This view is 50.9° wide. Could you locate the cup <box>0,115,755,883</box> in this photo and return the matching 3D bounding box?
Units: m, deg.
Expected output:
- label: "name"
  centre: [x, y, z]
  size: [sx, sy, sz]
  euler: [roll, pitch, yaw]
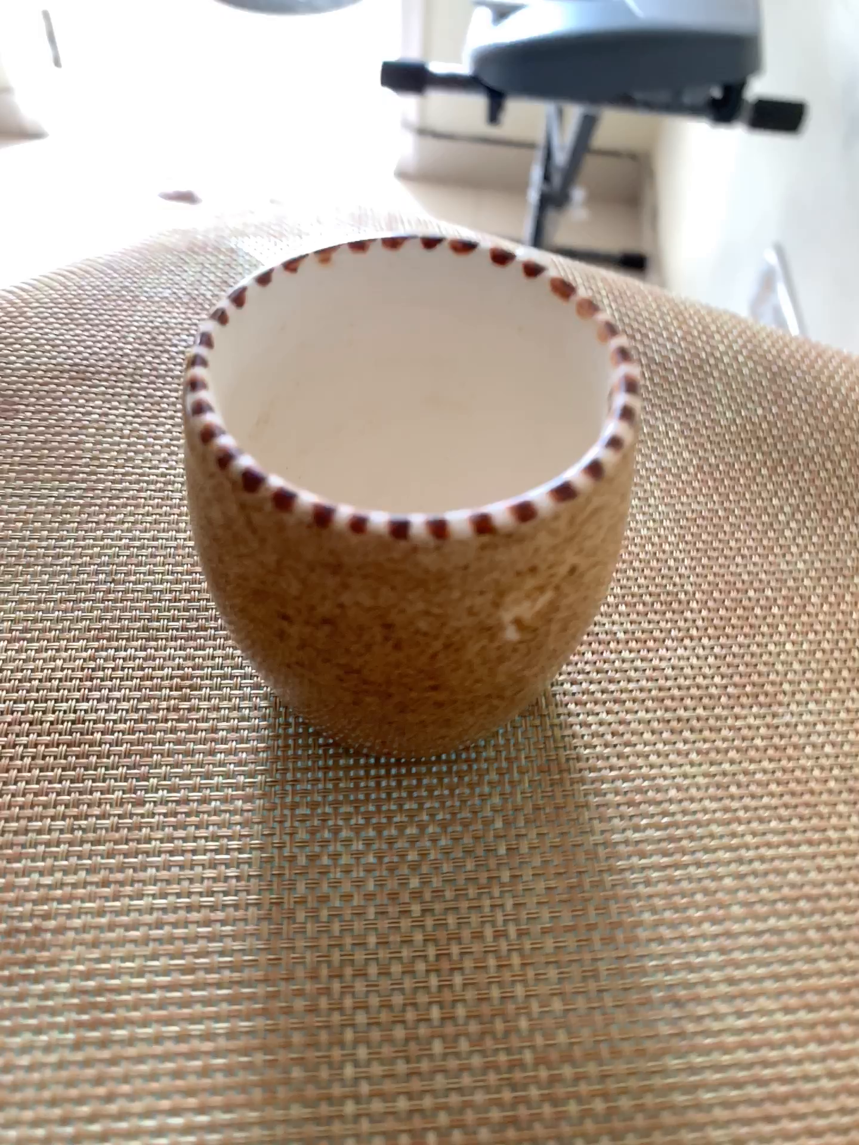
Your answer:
- label: "cup"
  centre: [-0.003, -0.016, 0.154]
  size: [0.070, 0.070, 0.090]
  euler: [26, 54, 16]
